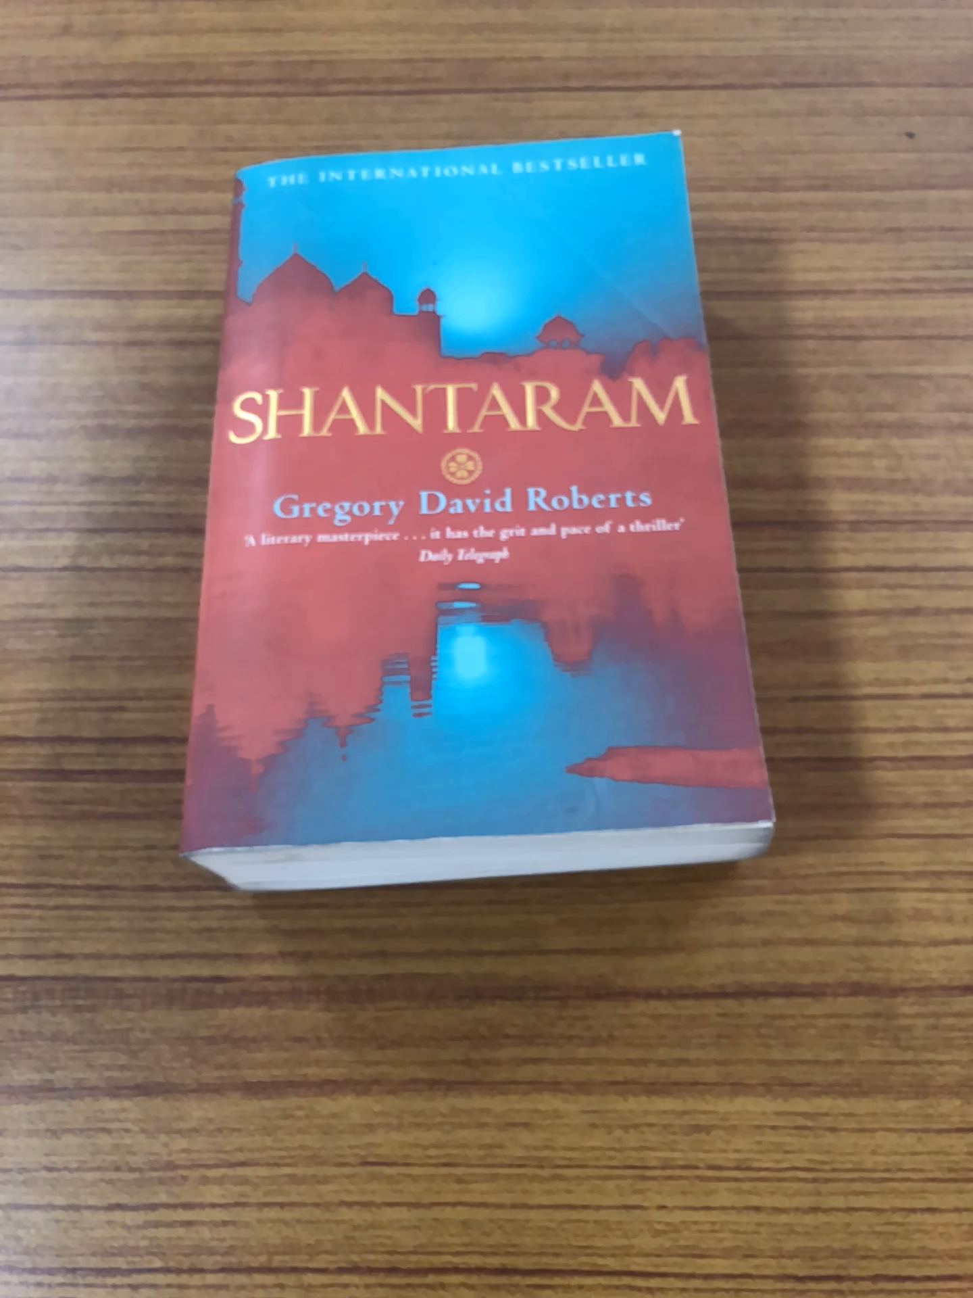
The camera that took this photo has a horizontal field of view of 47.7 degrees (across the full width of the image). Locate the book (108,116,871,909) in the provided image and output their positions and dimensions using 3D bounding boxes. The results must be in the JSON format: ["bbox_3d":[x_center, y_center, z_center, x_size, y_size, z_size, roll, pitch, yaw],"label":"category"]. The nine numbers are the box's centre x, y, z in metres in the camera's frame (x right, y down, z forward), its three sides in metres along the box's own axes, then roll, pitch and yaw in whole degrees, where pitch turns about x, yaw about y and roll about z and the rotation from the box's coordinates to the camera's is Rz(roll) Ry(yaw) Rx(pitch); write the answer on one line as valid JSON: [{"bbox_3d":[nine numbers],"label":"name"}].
[{"bbox_3d":[-0.003,-0.039,0.276,0.150,0.050,0.190,-3,67,0],"label":"book"}]
